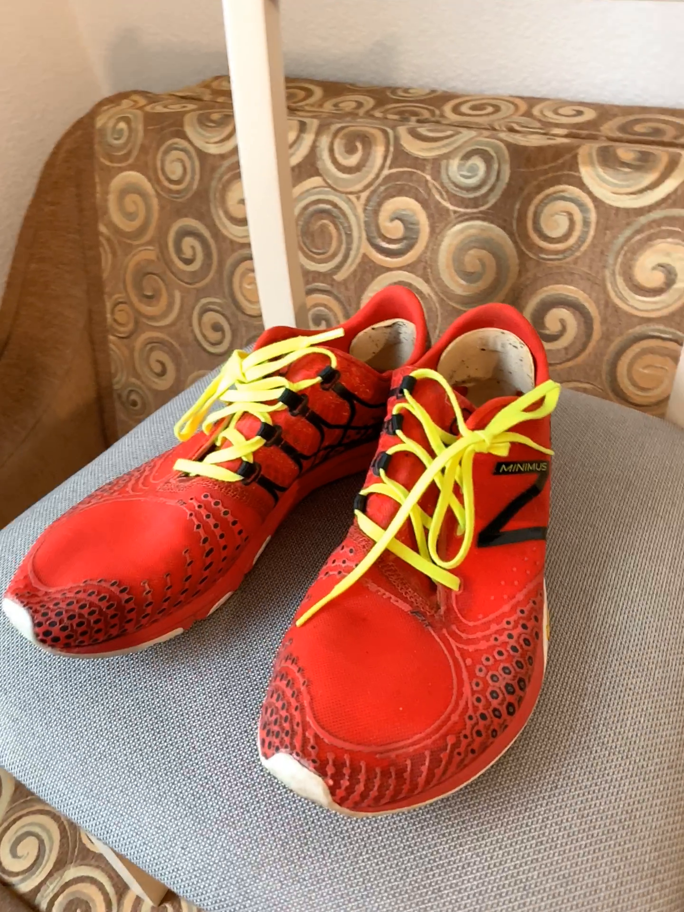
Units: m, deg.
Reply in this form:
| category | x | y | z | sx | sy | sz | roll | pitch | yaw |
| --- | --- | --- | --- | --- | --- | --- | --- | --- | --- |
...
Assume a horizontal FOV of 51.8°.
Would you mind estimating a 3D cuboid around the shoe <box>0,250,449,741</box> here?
| category | x | y | z | sx | sy | sz | roll | pitch | yaw |
| --- | --- | --- | --- | --- | --- | --- | --- | --- | --- |
| shoe | -0.066 | 0.002 | 0.383 | 0.110 | 0.090 | 0.260 | 31 | 58 | 33 |

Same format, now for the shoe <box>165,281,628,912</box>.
| category | x | y | z | sx | sy | sz | roll | pitch | yaw |
| --- | --- | --- | --- | --- | --- | --- | --- | --- | --- |
| shoe | 0.047 | 0.036 | 0.325 | 0.110 | 0.090 | 0.261 | 13 | 50 | 20 |
